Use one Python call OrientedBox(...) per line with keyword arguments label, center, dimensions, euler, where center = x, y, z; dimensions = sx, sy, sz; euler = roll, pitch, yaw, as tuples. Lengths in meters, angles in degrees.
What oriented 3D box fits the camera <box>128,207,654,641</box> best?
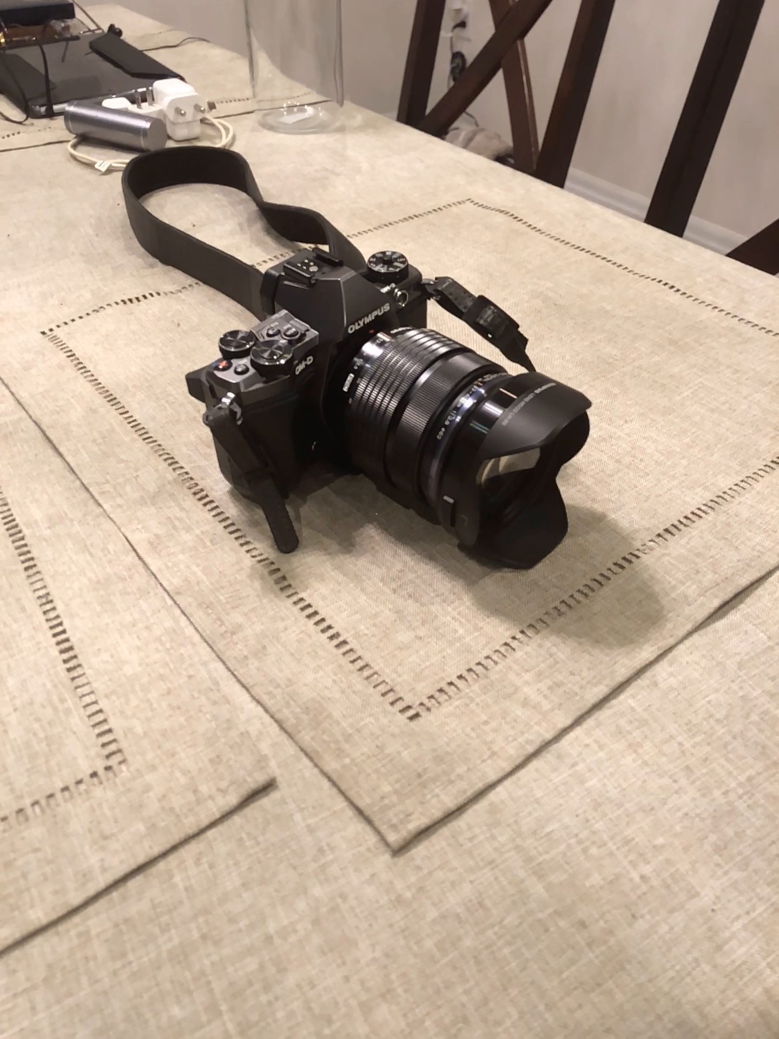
OrientedBox(label="camera", center=(0.002, -0.053, 0.366), dimensions=(0.165, 0.092, 0.125), euler=(24, 46, 29))
